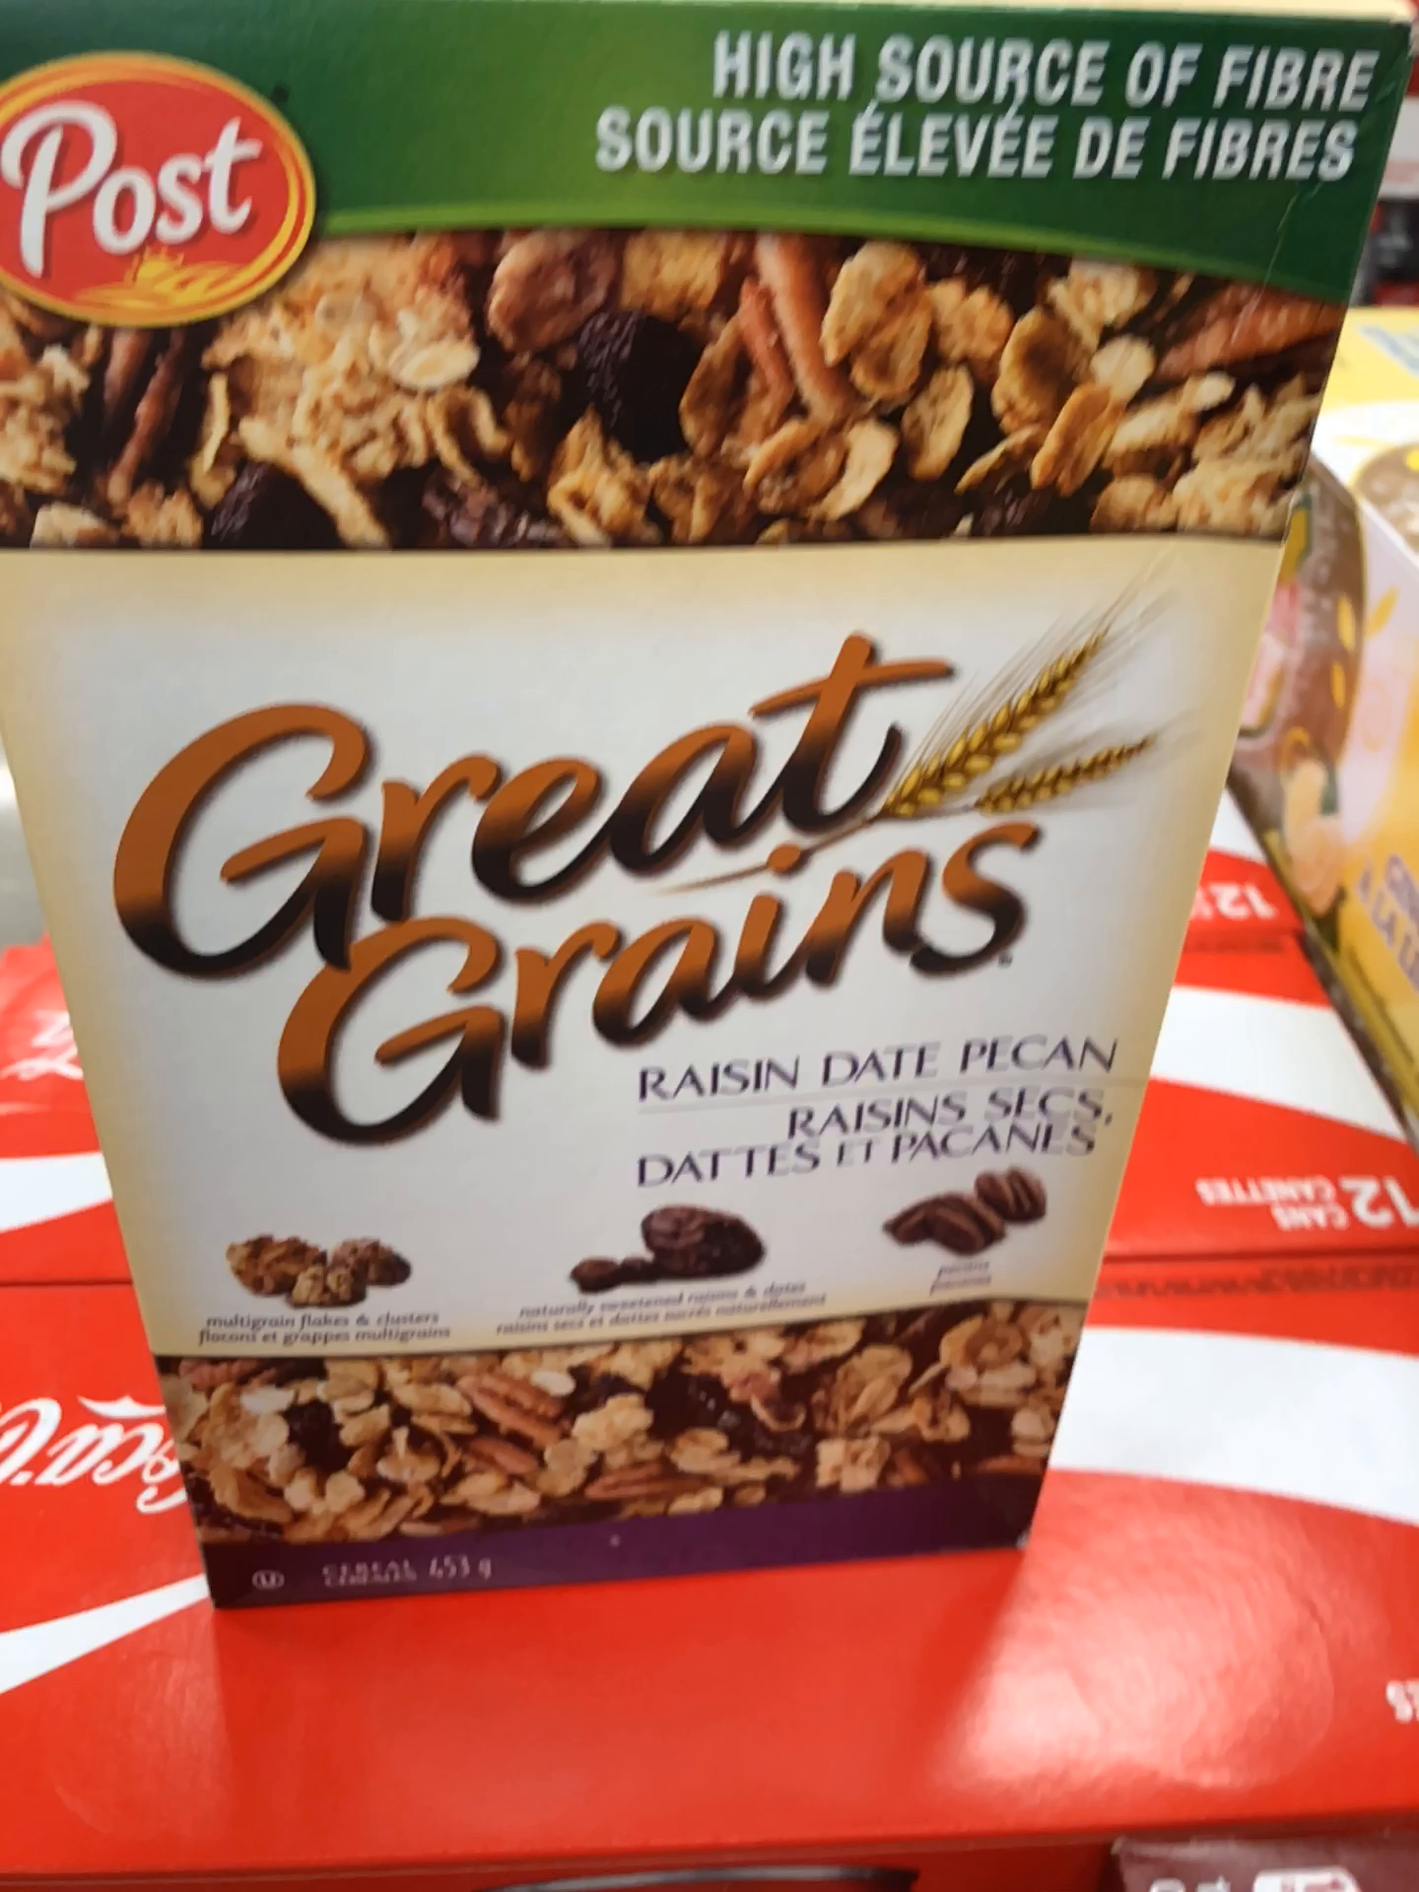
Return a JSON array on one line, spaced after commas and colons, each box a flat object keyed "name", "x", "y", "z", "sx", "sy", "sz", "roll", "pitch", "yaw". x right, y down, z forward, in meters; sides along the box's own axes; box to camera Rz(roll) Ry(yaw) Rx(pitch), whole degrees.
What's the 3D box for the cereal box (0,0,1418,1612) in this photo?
[{"name": "cereal box", "x": -0.011, "y": -0.003, "z": 0.245, "sx": 0.170, "sy": 0.269, "sz": 0.050, "roll": -2, "pitch": 36, "yaw": -5}]
